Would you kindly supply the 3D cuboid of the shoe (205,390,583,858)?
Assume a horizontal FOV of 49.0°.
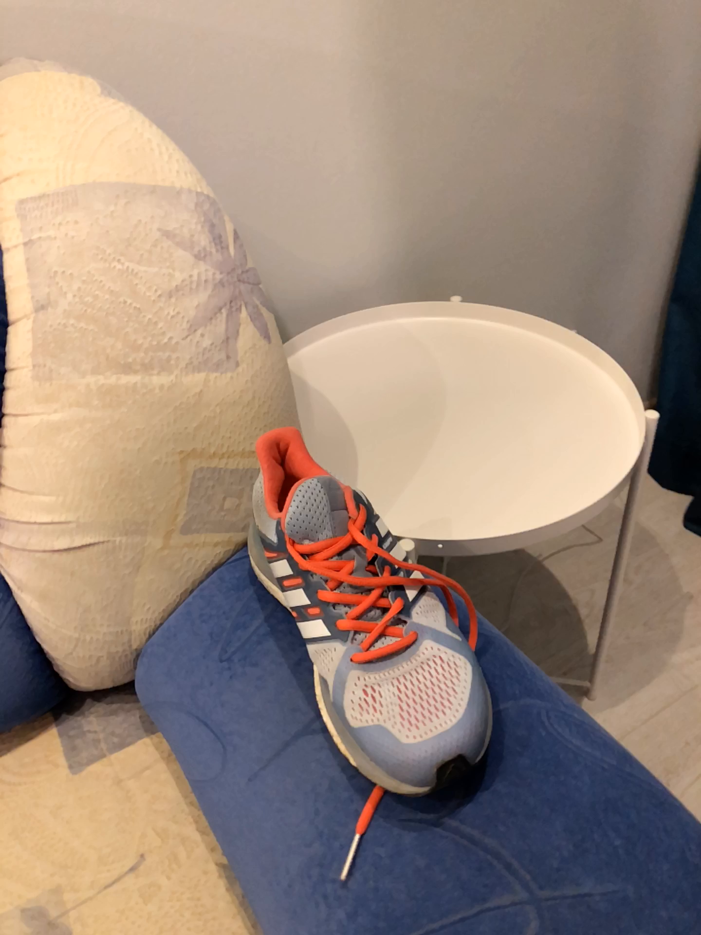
[{"bbox_3d":[0.010,0.076,0.494,0.107,0.109,0.272,-20,42,-19],"label":"shoe"}]
